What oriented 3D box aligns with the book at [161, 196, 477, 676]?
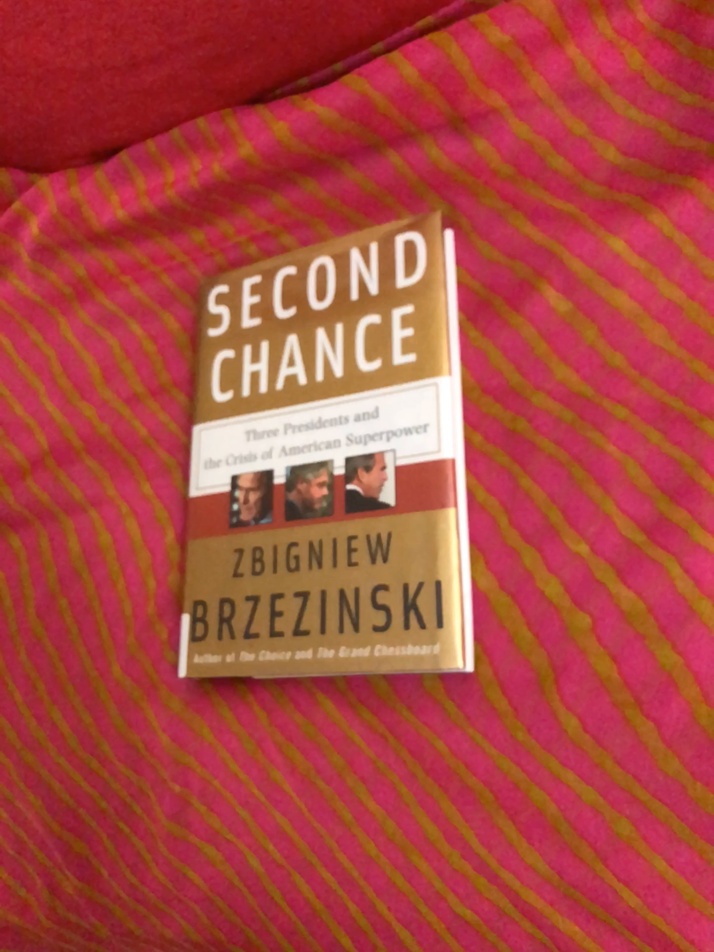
[{"bbox_3d":[-0.021,-0.011,0.373,0.141,0.037,0.200,-10,72,30],"label":"book"}]
